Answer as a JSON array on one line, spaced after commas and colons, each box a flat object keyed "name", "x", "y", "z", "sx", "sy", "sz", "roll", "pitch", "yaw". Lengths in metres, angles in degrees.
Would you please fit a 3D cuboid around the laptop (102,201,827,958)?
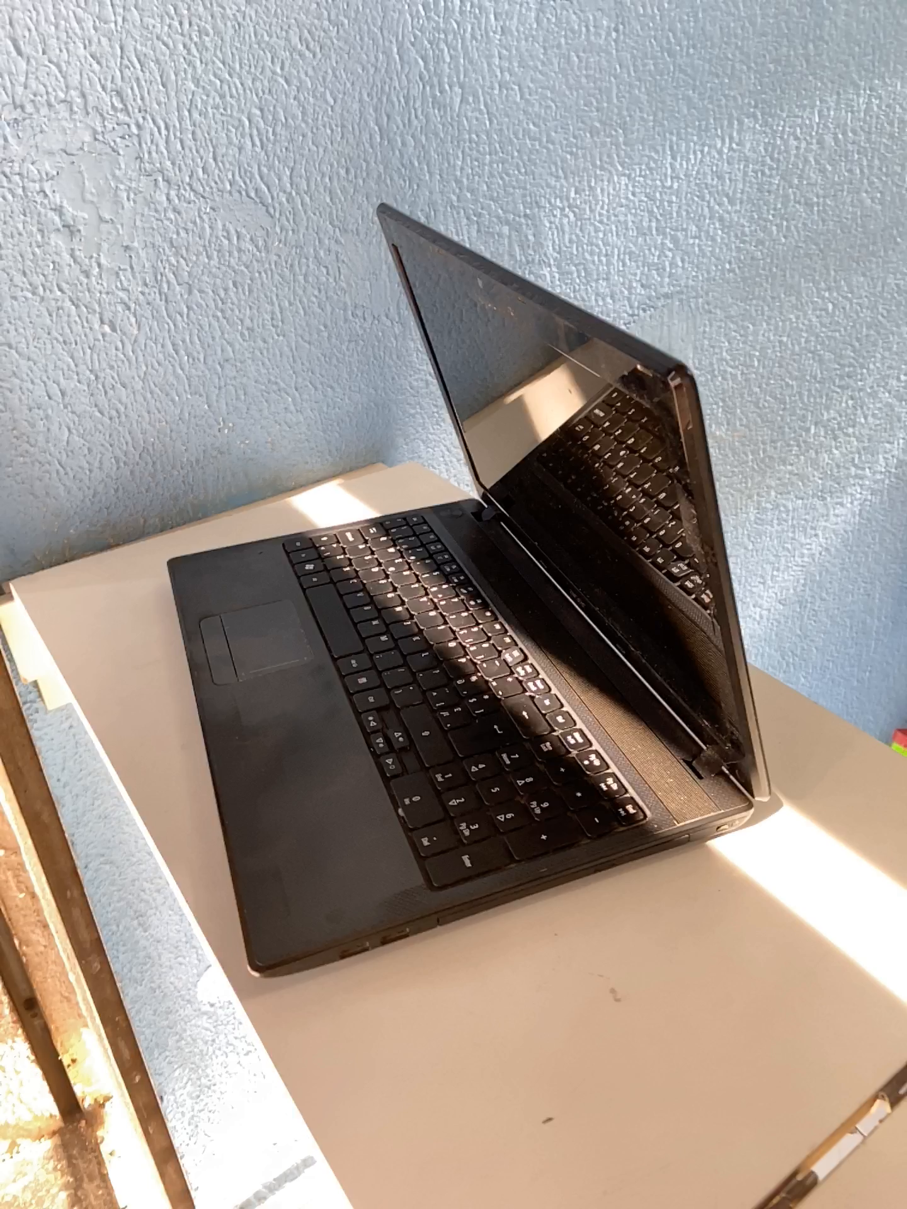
[{"name": "laptop", "x": -0.035, "y": -0.066, "z": 0.530, "sx": 0.254, "sy": 0.234, "sz": 0.376, "roll": -12, "pitch": 33, "yaw": -16}]
